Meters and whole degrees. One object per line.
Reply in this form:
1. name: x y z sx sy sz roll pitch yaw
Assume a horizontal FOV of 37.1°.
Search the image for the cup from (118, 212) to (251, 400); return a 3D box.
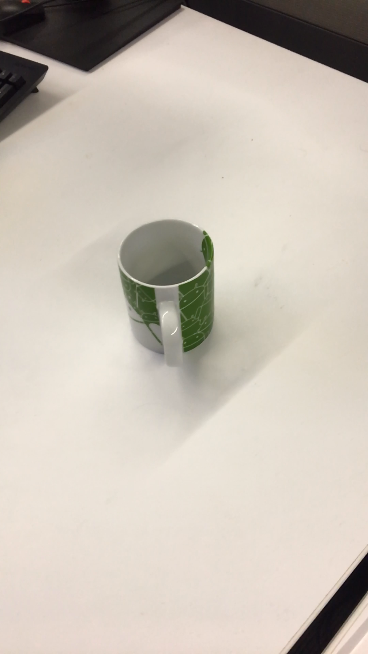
1. cup: -0.001 -0.018 0.469 0.090 0.090 0.120 -8 53 -2
